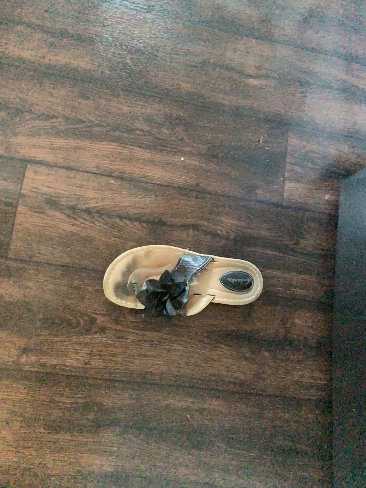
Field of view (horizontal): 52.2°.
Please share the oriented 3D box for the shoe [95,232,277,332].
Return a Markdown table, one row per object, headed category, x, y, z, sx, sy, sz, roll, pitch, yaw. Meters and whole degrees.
| category | x | y | z | sx | sy | sz | roll | pitch | yaw |
| --- | --- | --- | --- | --- | --- | --- | --- | --- | --- |
| shoe | 0.007 | 0.058 | 0.551 | 0.250 | 0.050 | 0.110 | 8 | 79 | -7 |
